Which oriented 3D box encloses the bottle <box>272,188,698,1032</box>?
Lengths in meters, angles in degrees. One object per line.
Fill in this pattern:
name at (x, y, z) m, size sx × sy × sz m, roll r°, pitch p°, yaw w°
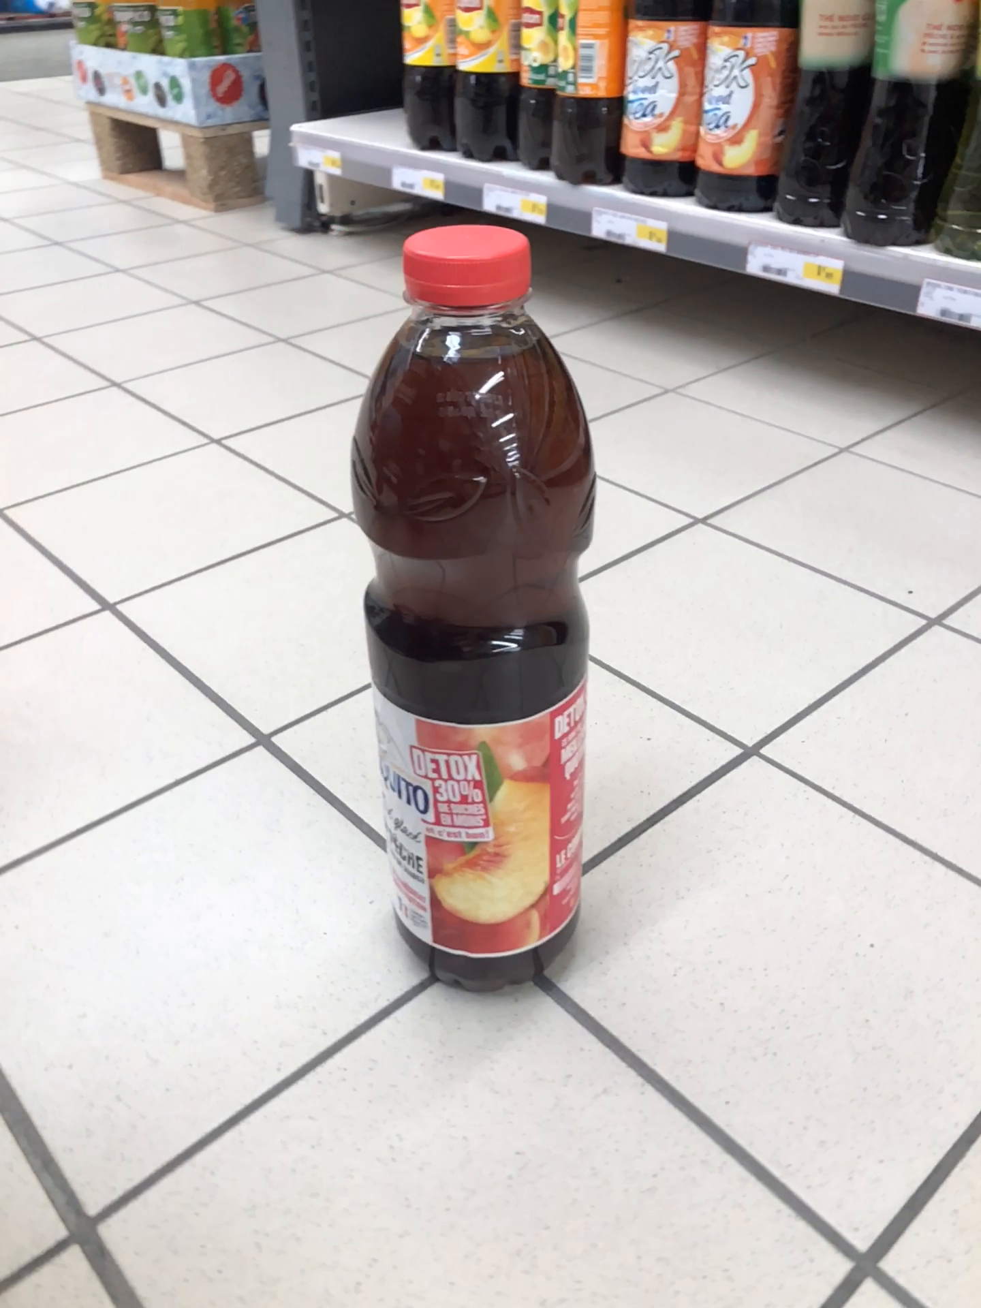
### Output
bottle at (0.000, -0.006, 0.401) m, size 0.090 × 0.288 × 0.090 m, roll 0°, pitch 33°, yaw 0°
